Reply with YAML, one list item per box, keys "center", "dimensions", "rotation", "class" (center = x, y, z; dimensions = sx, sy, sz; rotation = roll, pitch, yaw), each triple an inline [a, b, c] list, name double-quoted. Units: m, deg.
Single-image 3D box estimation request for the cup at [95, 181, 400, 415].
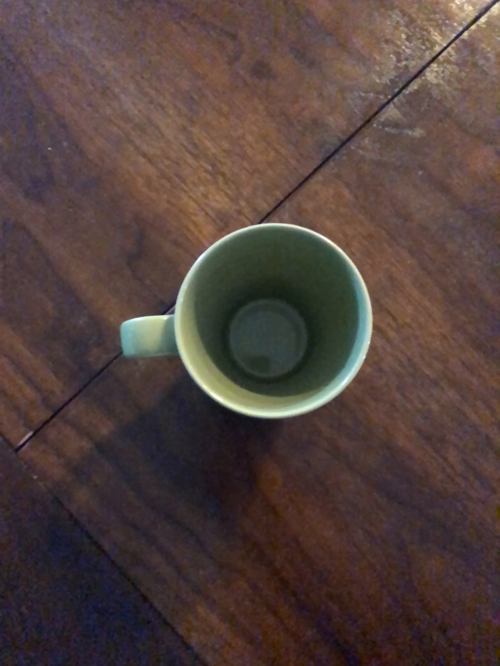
- center: [-0.001, -0.011, 0.269]
  dimensions: [0.120, 0.090, 0.090]
  rotation: [-3, 85, 1]
  class: "cup"
